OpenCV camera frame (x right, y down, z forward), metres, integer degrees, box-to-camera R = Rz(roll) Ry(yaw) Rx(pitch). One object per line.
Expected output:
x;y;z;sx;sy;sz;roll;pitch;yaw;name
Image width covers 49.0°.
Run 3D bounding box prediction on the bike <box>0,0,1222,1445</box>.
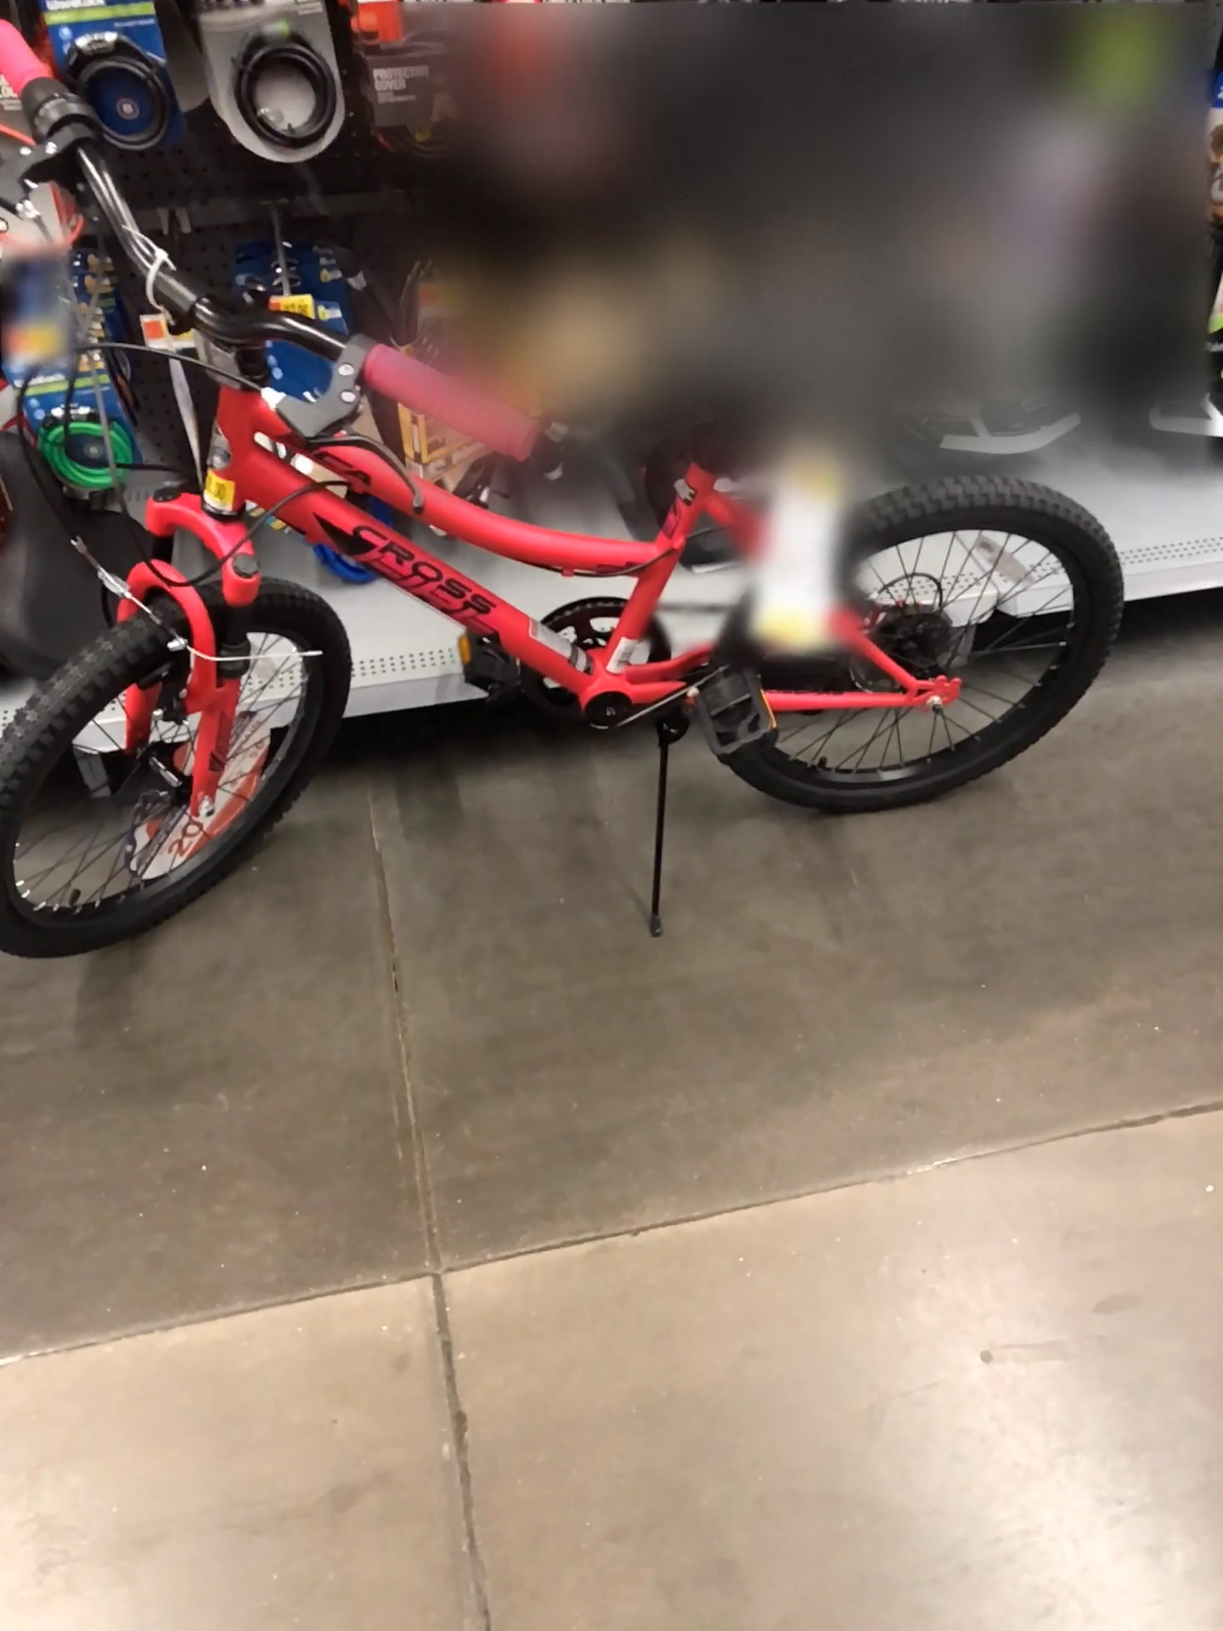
-0.010;-0.141;1.175;1.224;0.877;0.611;-13;44;-11;bike
